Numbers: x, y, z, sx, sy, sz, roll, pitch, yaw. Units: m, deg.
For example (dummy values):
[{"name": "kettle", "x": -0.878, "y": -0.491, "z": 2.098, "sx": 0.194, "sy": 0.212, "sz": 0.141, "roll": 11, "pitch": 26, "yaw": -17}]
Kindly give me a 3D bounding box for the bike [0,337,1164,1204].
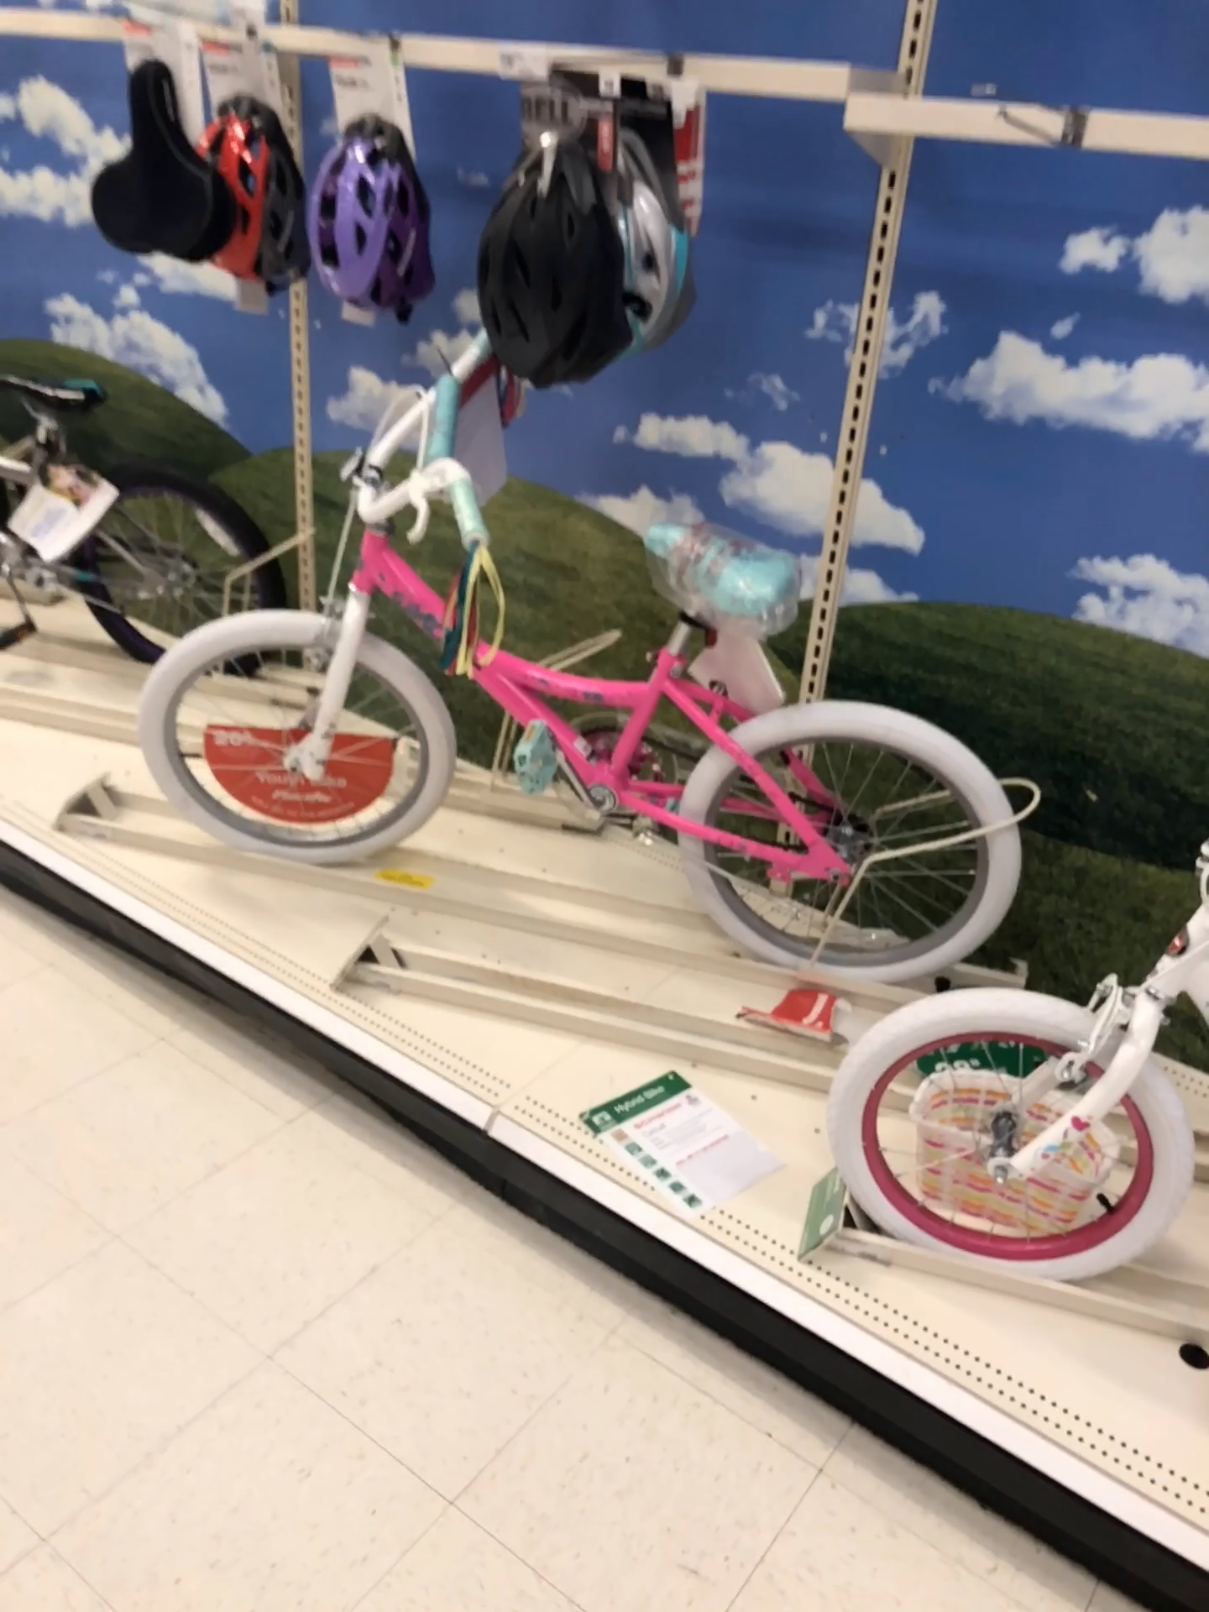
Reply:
[{"name": "bike", "x": -0.056, "y": -0.141, "z": 1.966, "sx": 1.346, "sy": 0.882, "sz": 0.730, "roll": 9, "pitch": 27, "yaw": 12}]
